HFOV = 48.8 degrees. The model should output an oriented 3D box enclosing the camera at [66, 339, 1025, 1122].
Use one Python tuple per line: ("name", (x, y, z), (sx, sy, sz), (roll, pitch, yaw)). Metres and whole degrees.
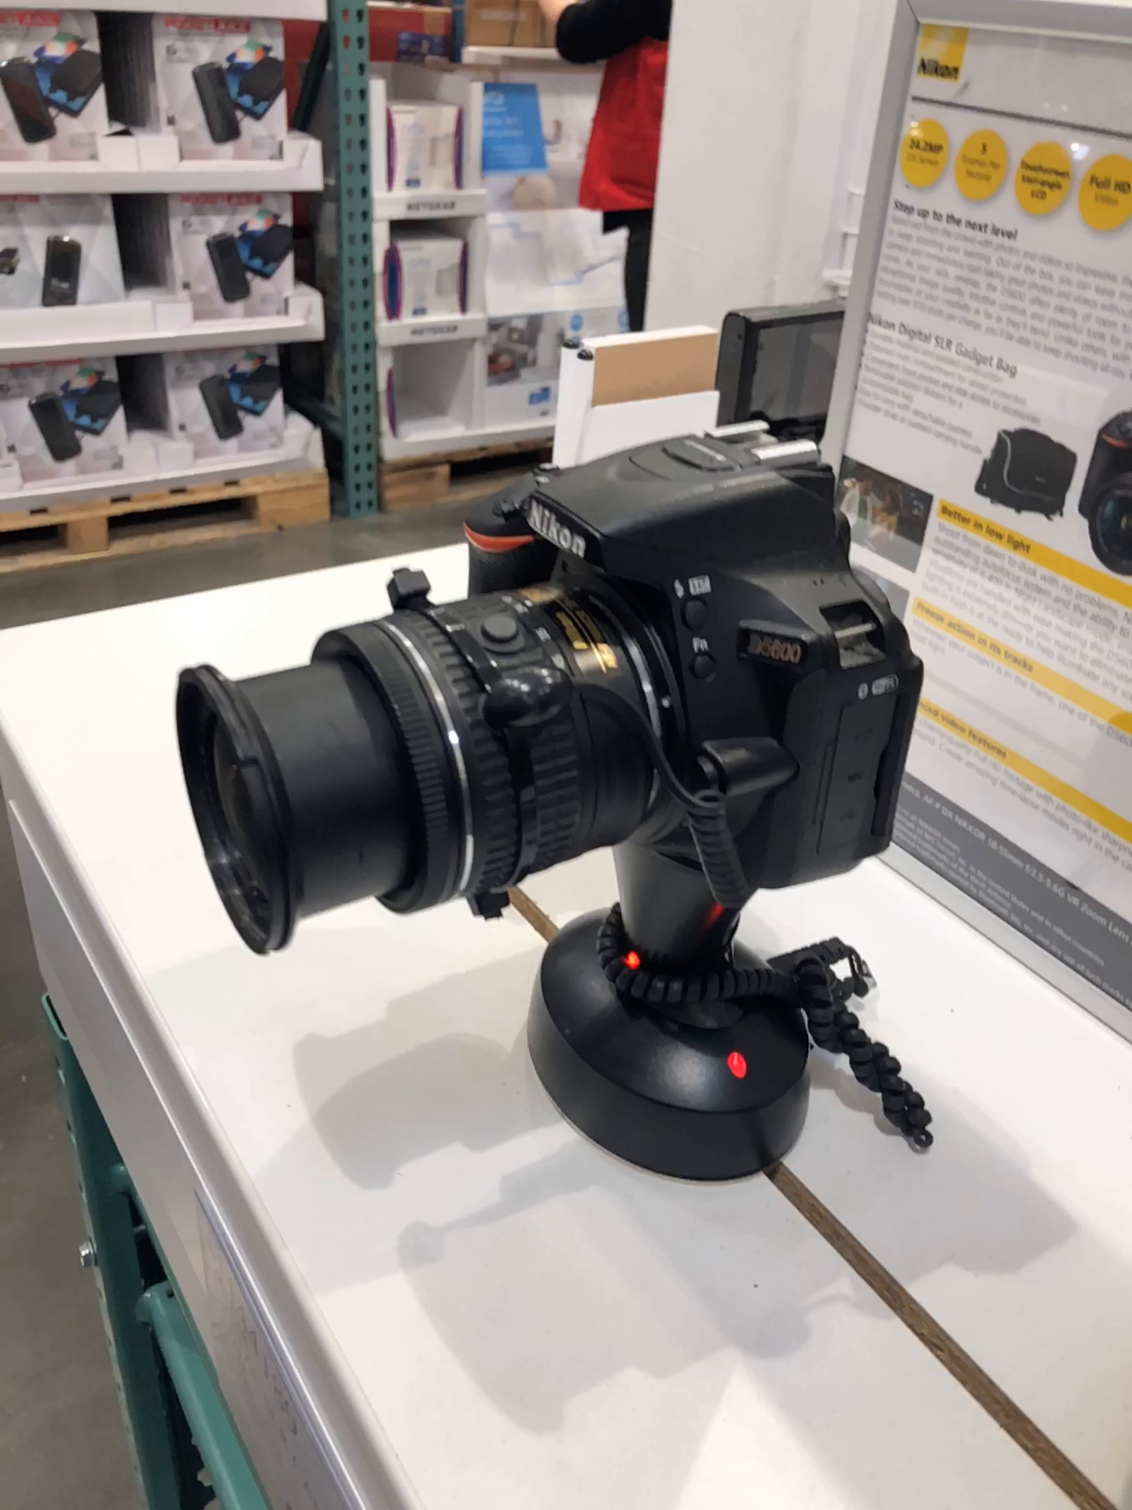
("camera", (-0.013, -0.025, 0.296), (0.160, 0.099, 0.141), (-15, 36, -27))
